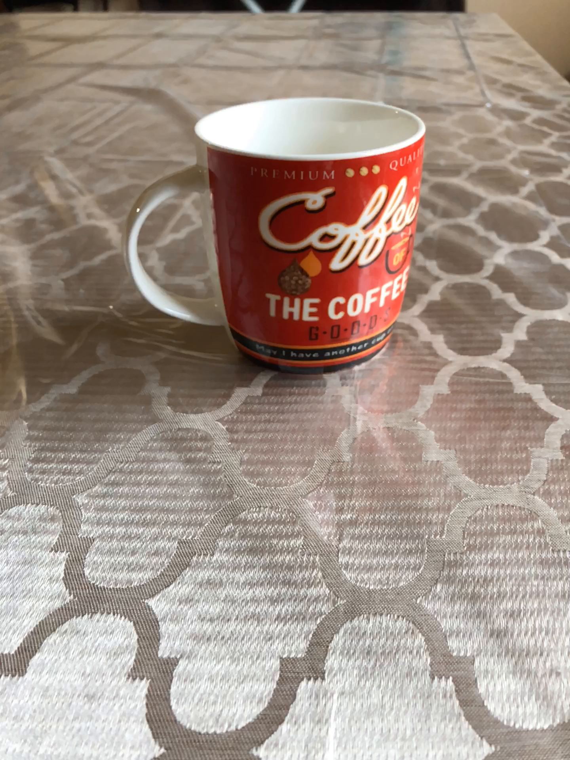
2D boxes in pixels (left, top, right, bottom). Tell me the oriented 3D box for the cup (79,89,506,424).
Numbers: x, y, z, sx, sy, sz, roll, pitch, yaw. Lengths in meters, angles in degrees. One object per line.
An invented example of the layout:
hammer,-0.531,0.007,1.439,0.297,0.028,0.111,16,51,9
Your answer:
cup,-0.005,-0.064,0.271,0.130,0.080,0.120,-1,35,1
